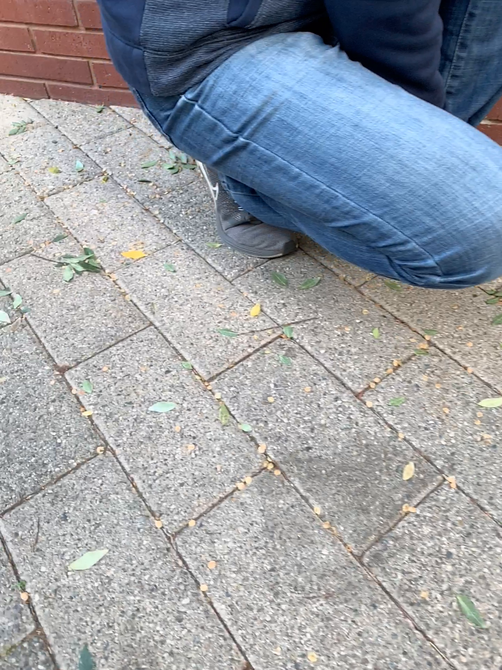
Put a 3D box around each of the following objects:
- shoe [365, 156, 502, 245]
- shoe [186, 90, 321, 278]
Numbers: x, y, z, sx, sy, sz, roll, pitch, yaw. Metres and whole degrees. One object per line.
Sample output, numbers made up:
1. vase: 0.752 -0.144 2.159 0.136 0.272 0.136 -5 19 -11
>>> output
1. shoe: 0.364 -0.252 0.954 0.280 0.083 0.111 10 47 12
2. shoe: 0.004 -0.252 0.890 0.116 0.274 0.098 -24 8 -17
